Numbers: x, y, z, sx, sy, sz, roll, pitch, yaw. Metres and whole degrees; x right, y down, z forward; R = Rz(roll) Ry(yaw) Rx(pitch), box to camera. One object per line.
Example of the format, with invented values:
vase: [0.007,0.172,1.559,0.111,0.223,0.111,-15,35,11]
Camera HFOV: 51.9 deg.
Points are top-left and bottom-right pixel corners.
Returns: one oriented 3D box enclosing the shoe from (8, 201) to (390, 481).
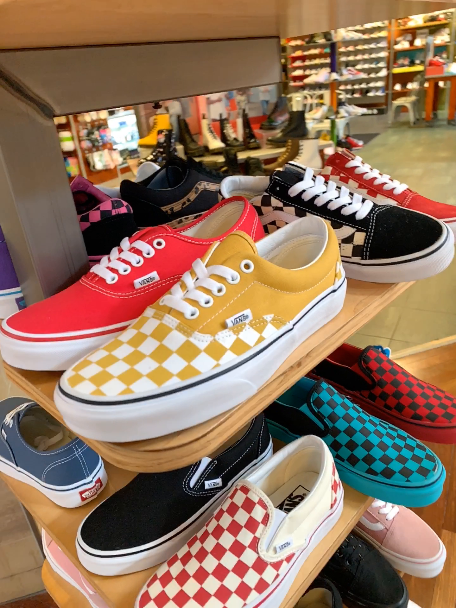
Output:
shoe: [0.002,-0.003,0.340,0.103,0.067,0.268,19,36,42]

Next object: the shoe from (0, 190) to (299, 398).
shoe: [-0.066,-0.031,0.413,0.268,0.067,0.109,-27,33,-36]

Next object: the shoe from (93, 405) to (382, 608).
shoe: [0.025,0.210,0.439,0.268,0.067,0.103,-27,33,-36]

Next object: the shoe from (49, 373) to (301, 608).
shoe: [-0.044,0.186,0.529,0.268,0.067,0.105,-27,33,-36]
